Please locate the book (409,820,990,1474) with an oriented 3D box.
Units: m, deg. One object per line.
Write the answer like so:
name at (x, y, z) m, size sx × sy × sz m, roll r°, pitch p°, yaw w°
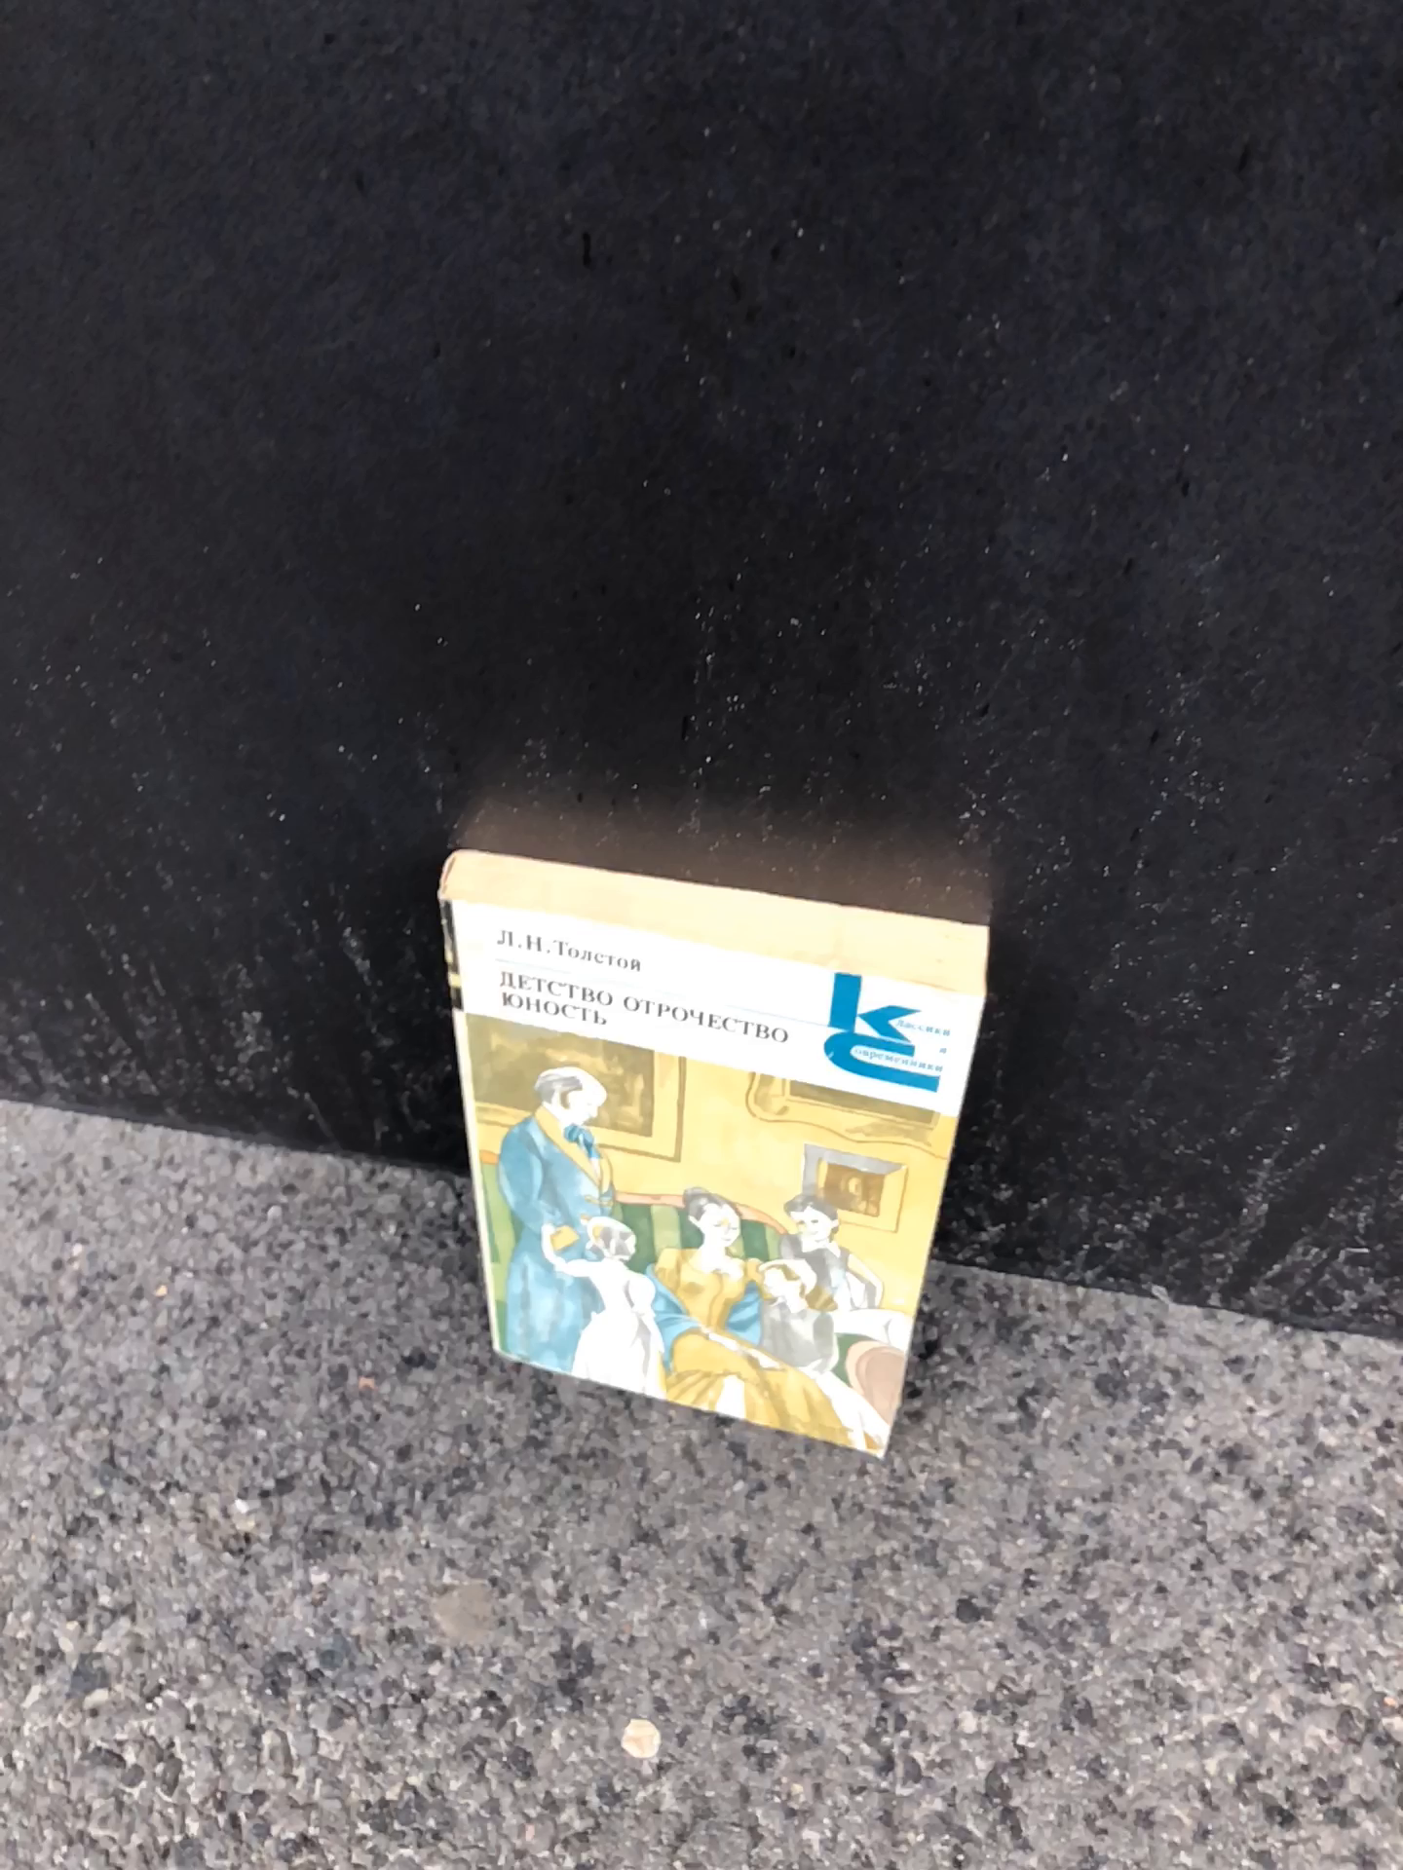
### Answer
book at (-0.004, 0.063, 0.393) m, size 0.120 × 0.184 × 0.030 m, roll 11°, pitch 44°, yaw 9°
